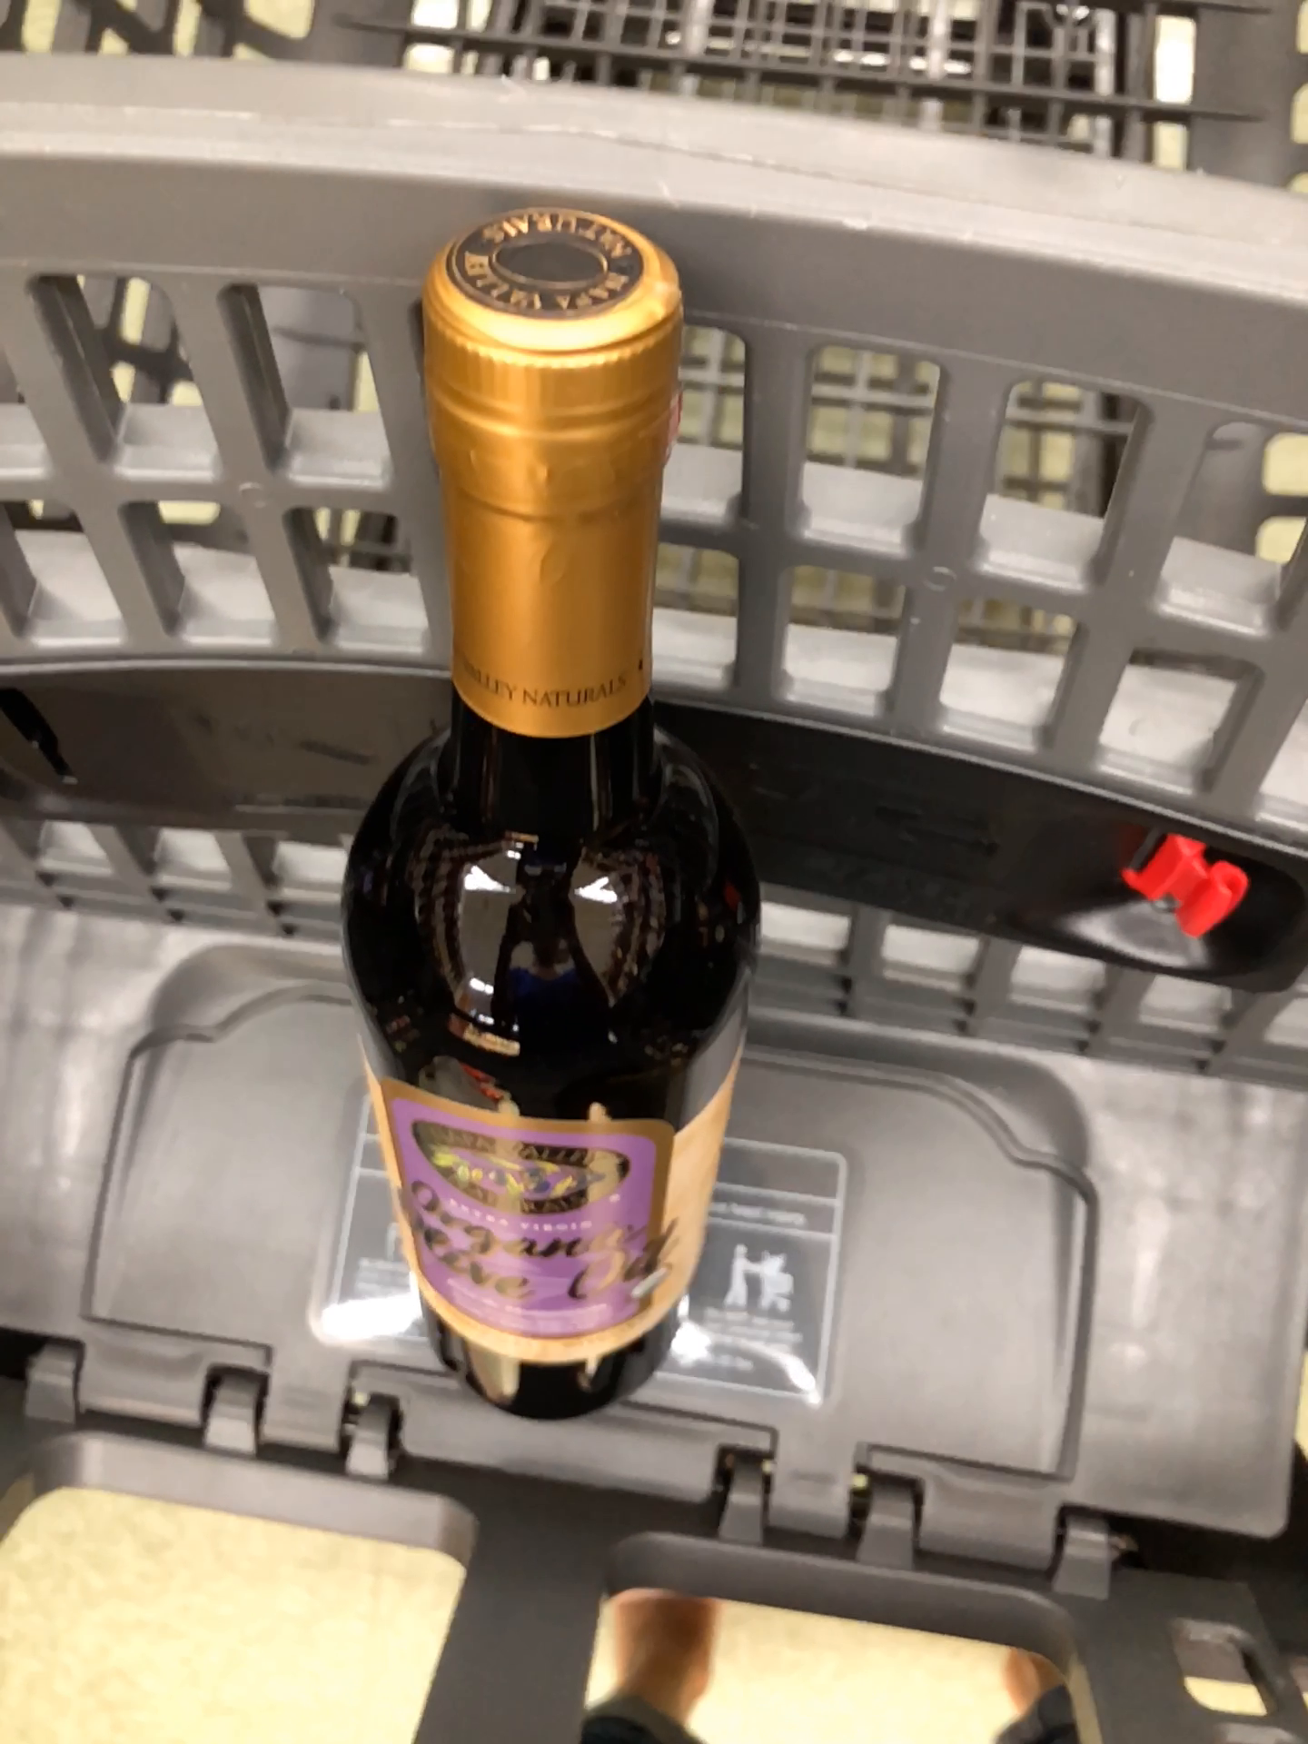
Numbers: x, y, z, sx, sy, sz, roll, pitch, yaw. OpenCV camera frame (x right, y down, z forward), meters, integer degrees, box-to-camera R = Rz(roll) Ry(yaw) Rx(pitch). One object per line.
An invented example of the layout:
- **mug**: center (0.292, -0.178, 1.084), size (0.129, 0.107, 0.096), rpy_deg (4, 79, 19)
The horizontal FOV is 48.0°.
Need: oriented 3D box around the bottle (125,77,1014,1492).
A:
- **bottle**: center (-0.012, 0.028, 0.279), size (0.080, 0.301, 0.080), rpy_deg (2, 53, -3)
